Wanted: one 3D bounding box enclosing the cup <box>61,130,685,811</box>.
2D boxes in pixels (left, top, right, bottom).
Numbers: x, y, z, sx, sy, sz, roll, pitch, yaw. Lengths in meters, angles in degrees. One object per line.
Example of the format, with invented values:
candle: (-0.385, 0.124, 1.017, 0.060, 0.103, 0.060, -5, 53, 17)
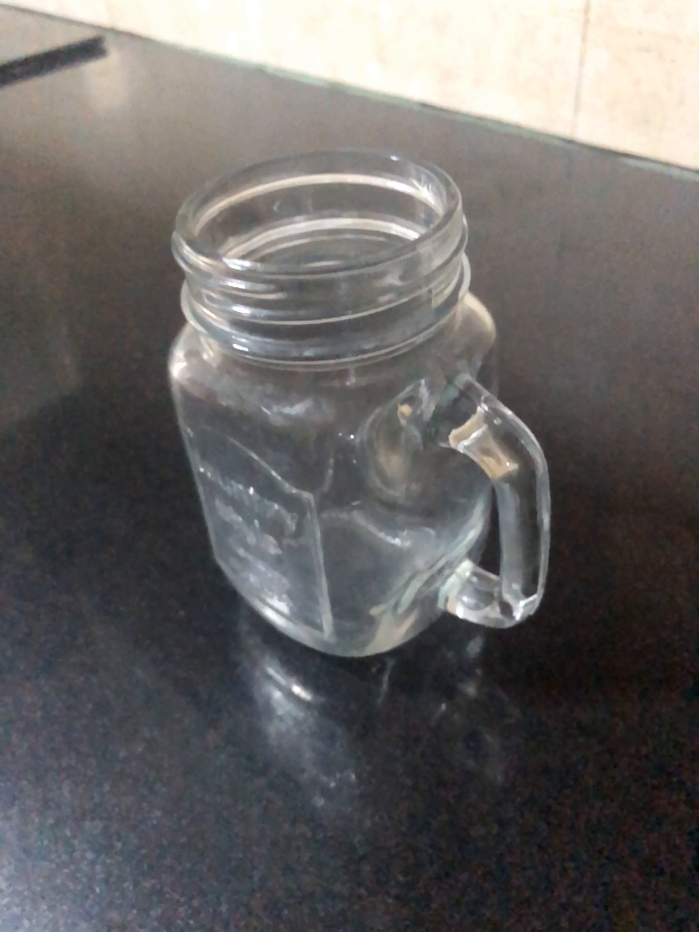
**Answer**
cup: (0.006, -0.003, 0.214, 0.110, 0.129, 0.080, 29, 51, 33)
